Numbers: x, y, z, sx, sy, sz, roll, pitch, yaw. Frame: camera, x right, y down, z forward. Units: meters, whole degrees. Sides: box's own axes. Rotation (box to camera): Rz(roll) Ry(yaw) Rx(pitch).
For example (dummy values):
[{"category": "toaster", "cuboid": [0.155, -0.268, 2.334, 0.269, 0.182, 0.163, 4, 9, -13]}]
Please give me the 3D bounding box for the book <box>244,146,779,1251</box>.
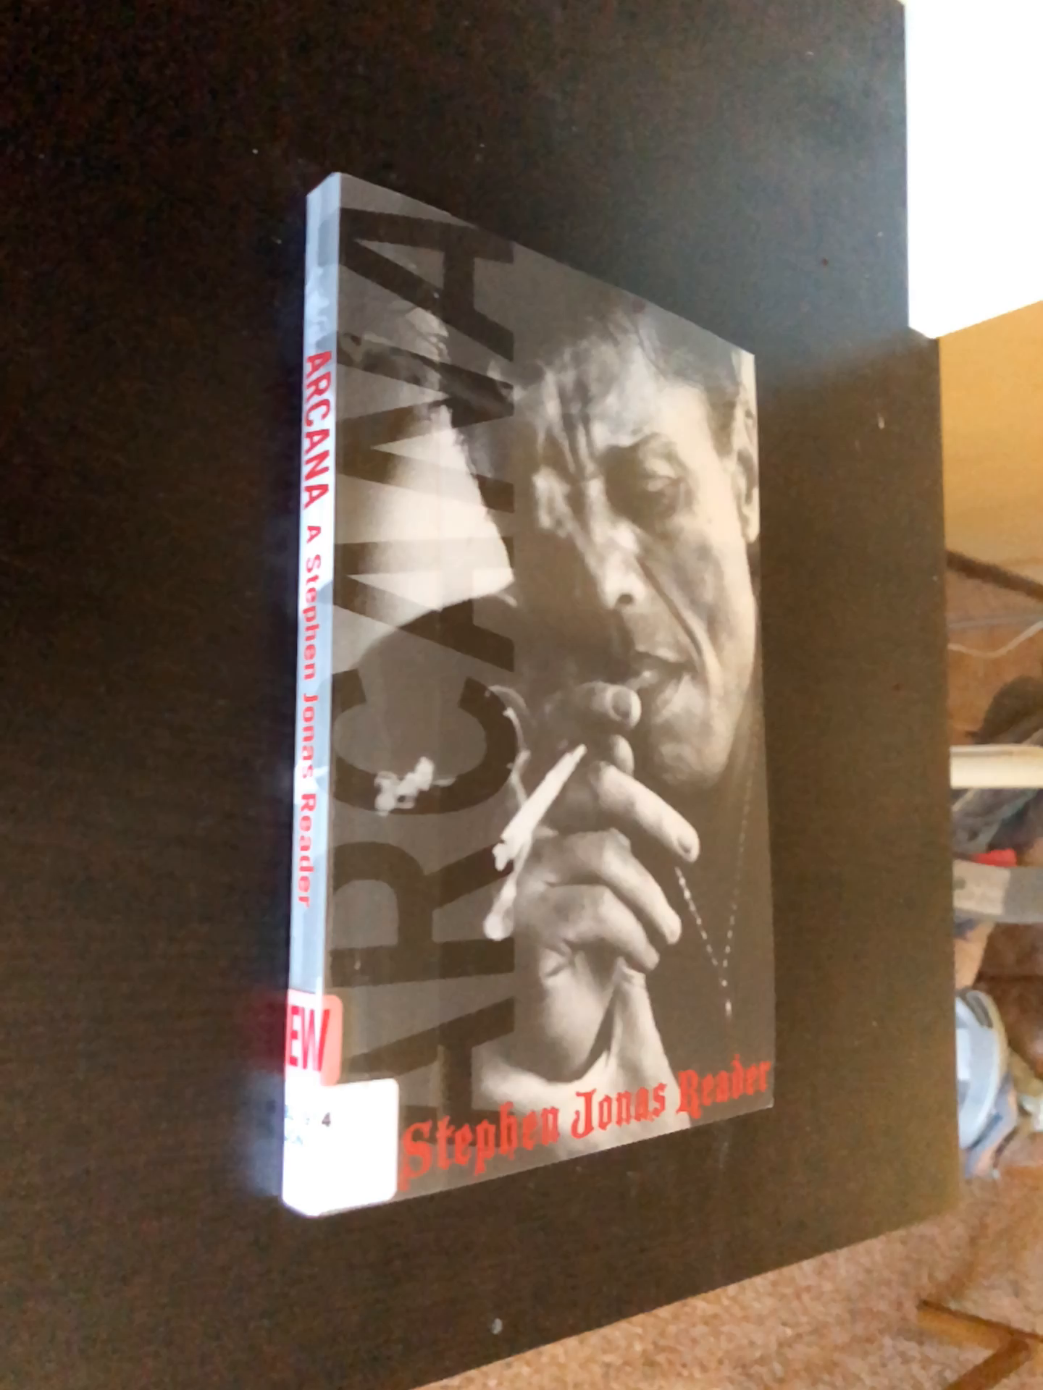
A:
[{"category": "book", "cuboid": [0.010, 0.002, 0.340, 0.180, 0.024, 0.260, 5, 82, -42]}]
